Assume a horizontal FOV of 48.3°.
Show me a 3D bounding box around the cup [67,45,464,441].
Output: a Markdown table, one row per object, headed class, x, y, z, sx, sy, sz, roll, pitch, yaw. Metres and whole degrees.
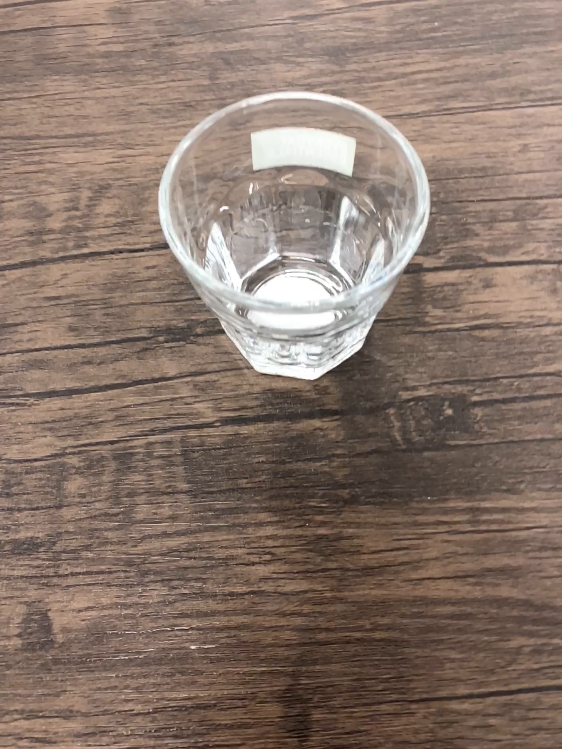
| class | x | y | z | sx | sy | sz | roll | pitch | yaw |
| --- | --- | --- | --- | --- | --- | --- | --- | --- | --- |
| cup | -0.001 | -0.043 | 0.219 | 0.090 | 0.070 | 0.090 | -1 | 67 | 3 |
